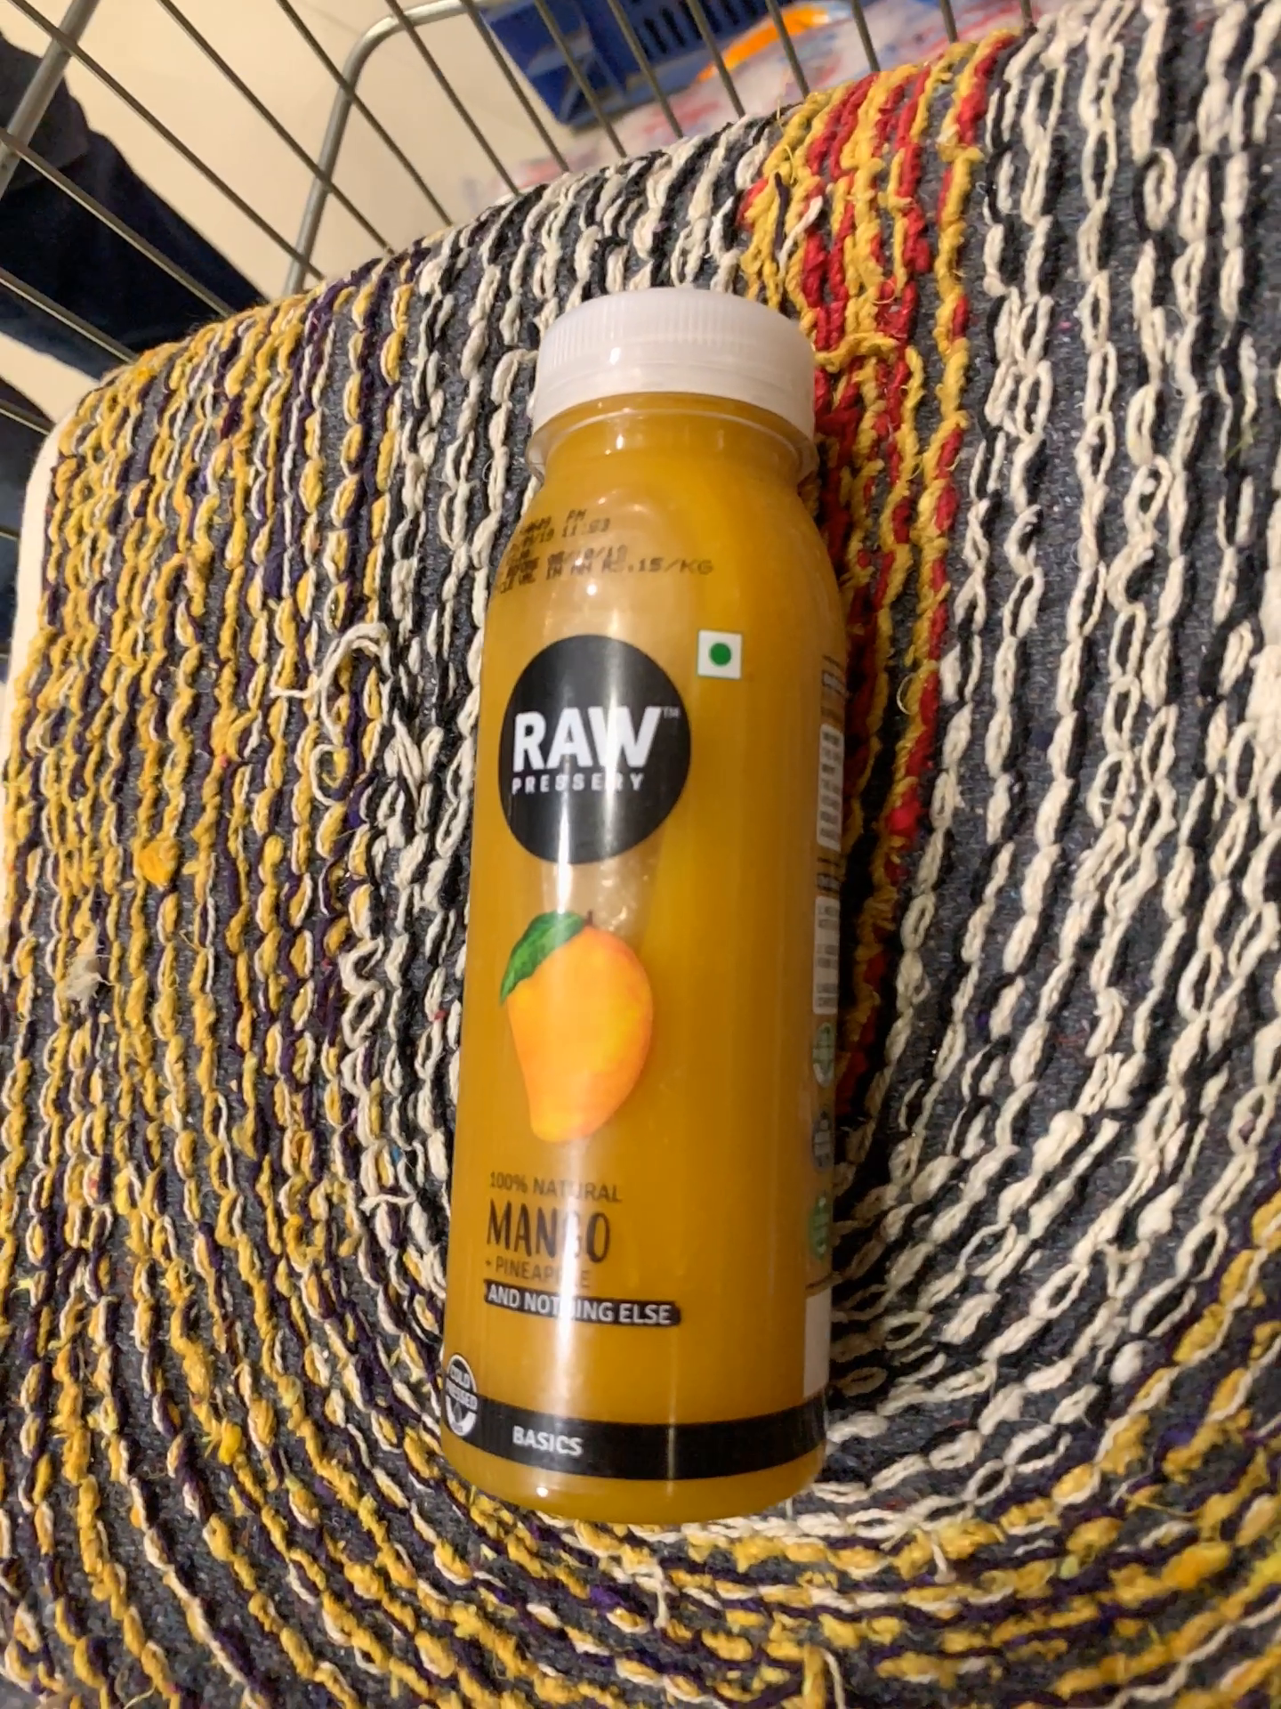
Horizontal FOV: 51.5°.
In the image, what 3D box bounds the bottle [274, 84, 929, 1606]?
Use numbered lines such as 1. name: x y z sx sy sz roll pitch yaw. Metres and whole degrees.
1. bottle: 0.000 -0.004 0.182 0.060 0.050 0.170 0 81 26
